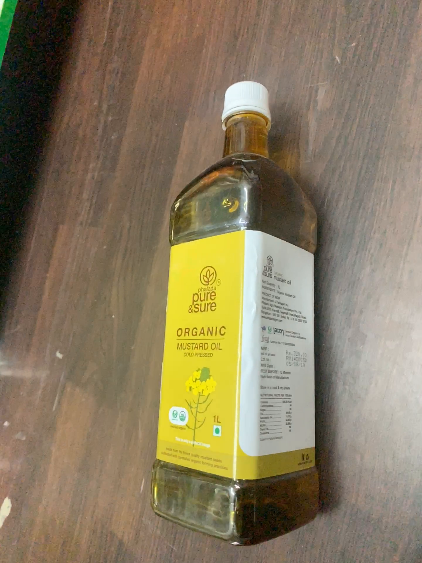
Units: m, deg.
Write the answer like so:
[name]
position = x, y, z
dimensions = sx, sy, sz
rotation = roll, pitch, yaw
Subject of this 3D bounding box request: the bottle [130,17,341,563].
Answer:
[bottle]
position = 0.021, 0.002, 0.262
dimensions = 0.080, 0.080, 0.270
rotation = -7, 75, 42
